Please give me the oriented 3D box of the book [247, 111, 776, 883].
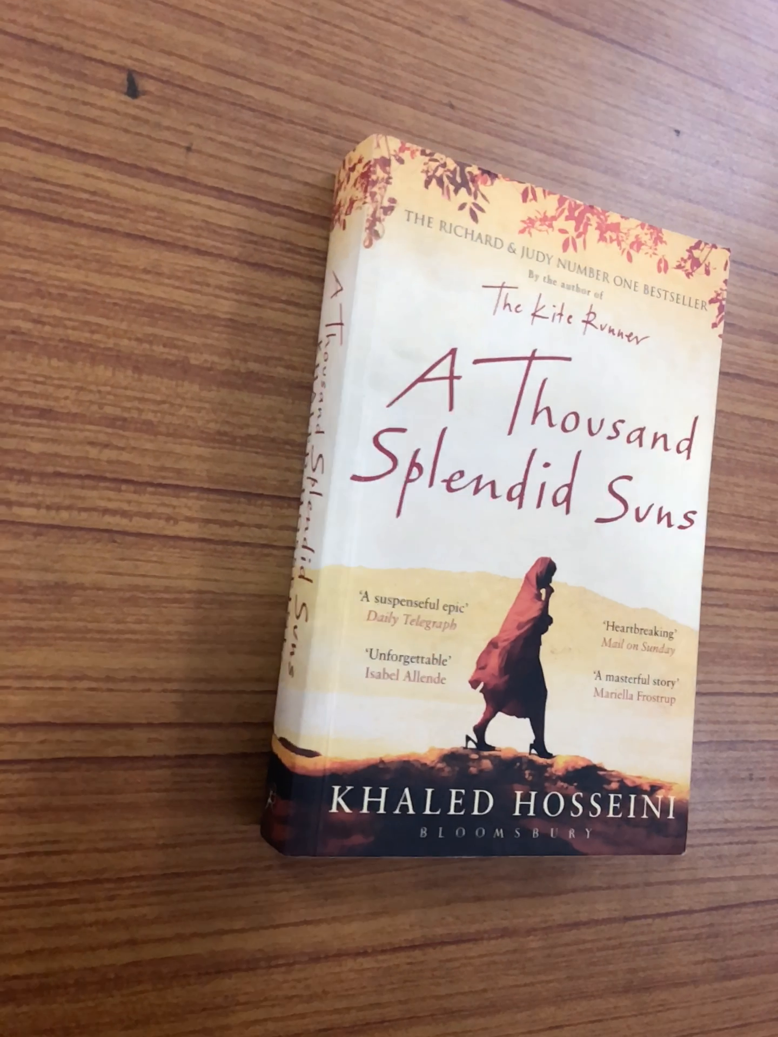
[{"bbox_3d":[0.043,0.002,0.253,0.140,0.030,0.190,9,84,-24],"label":"book"}]
